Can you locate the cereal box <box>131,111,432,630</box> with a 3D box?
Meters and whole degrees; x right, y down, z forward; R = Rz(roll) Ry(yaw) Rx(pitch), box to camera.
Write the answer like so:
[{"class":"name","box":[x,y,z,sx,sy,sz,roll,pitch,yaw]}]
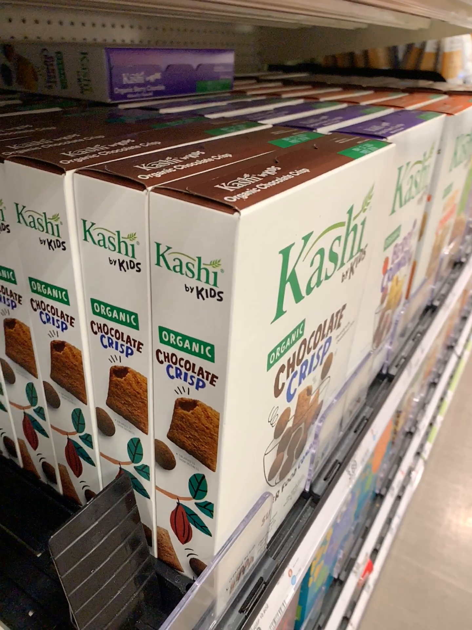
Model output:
[{"class":"cereal box","box":[0.035,0.024,0.305,0.060,0.259,0.201,20,34,27]}]
